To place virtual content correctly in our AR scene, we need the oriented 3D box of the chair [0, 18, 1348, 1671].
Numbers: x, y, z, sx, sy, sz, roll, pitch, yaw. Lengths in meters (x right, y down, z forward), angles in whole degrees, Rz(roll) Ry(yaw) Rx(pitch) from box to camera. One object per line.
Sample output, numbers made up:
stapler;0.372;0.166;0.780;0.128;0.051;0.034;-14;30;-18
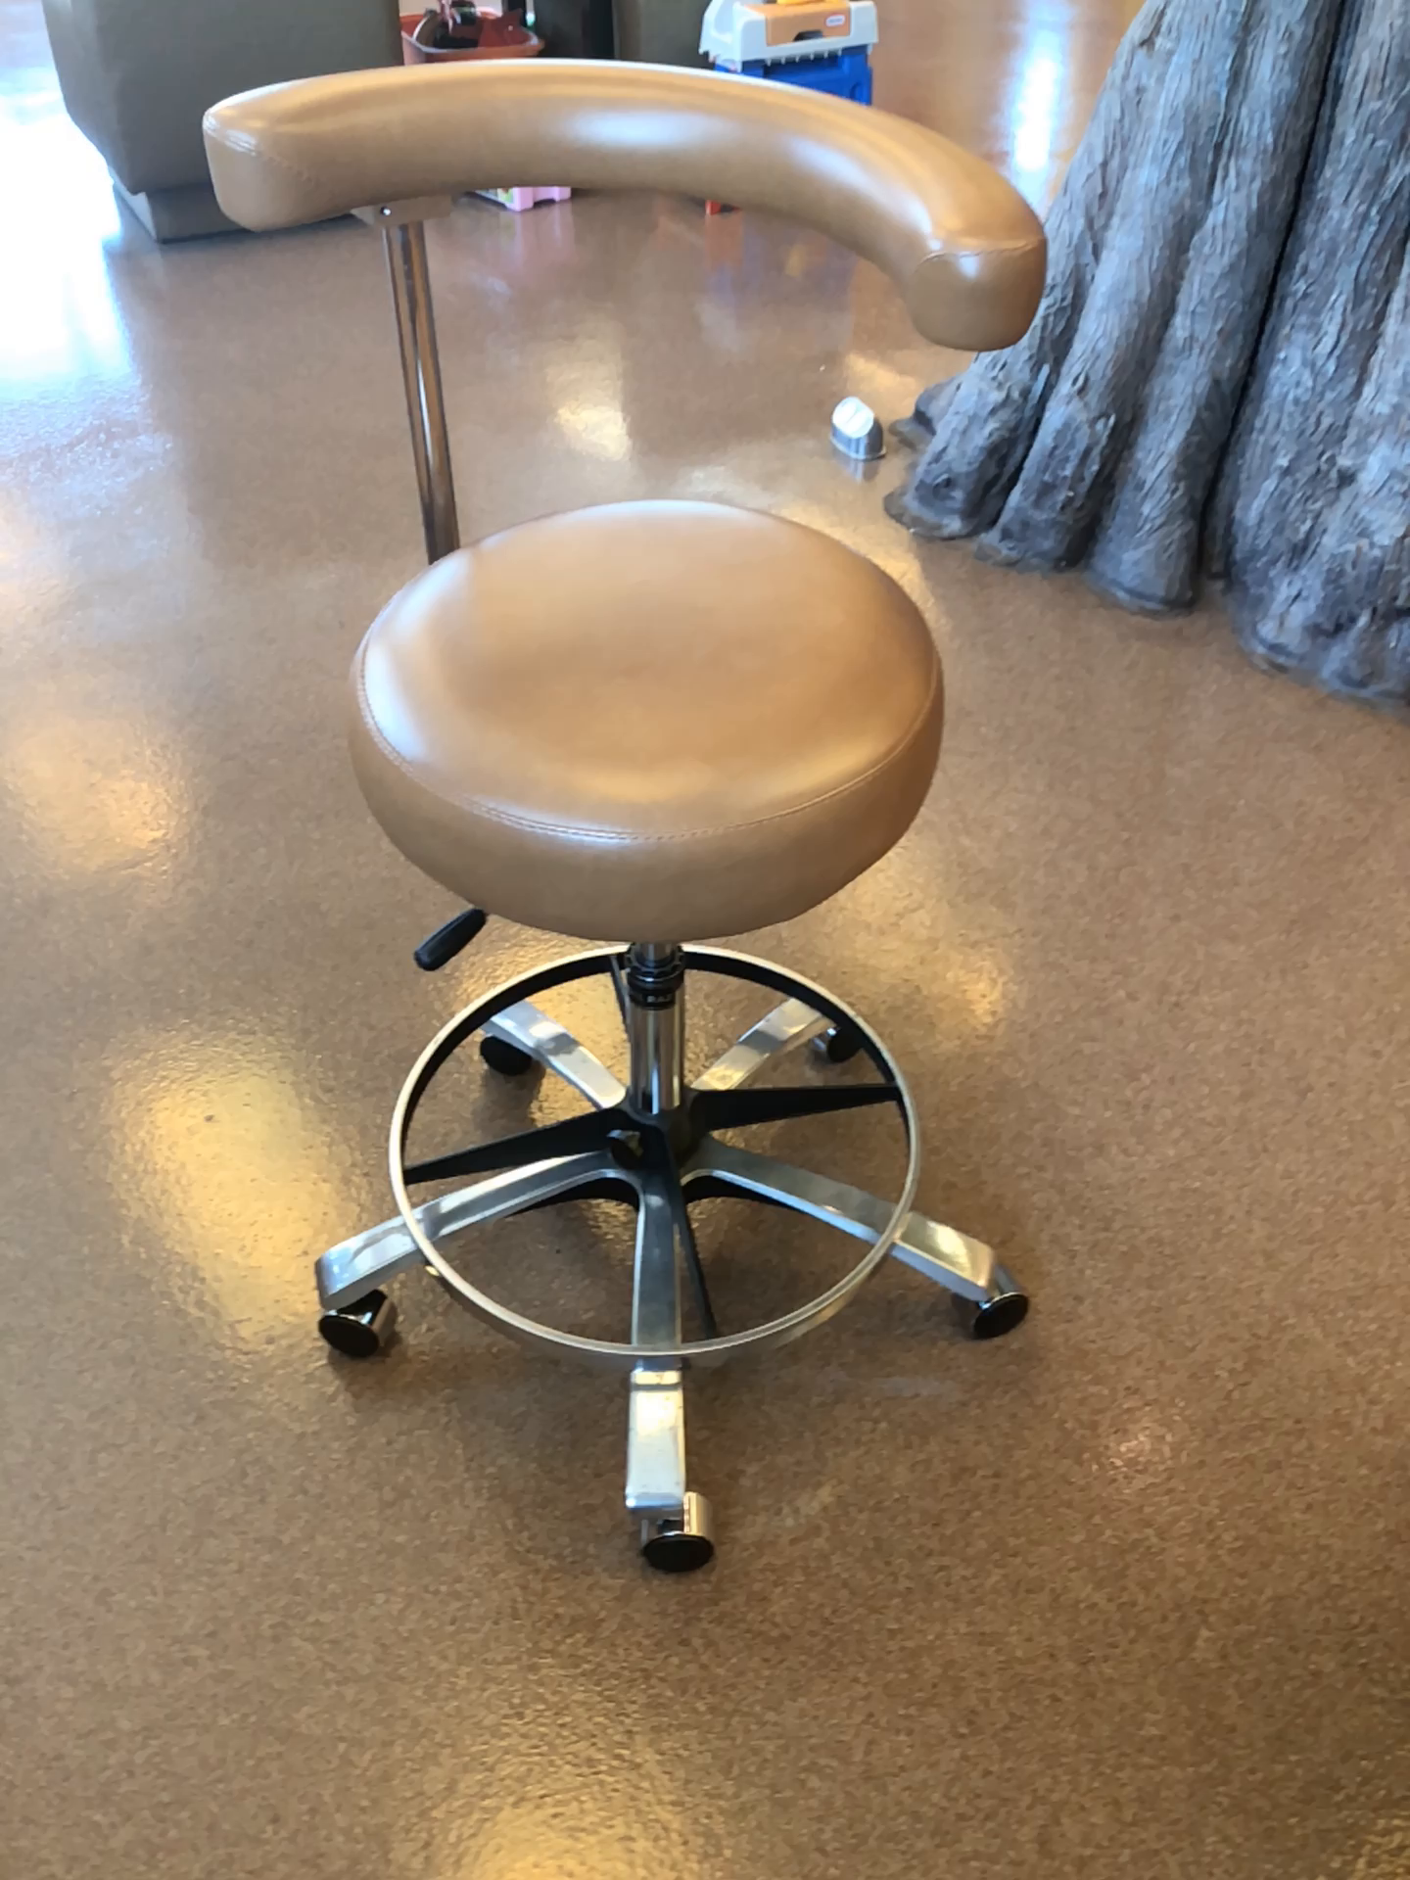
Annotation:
chair;-0.023;-0.077;1.048;0.611;0.805;0.593;16;44;16
